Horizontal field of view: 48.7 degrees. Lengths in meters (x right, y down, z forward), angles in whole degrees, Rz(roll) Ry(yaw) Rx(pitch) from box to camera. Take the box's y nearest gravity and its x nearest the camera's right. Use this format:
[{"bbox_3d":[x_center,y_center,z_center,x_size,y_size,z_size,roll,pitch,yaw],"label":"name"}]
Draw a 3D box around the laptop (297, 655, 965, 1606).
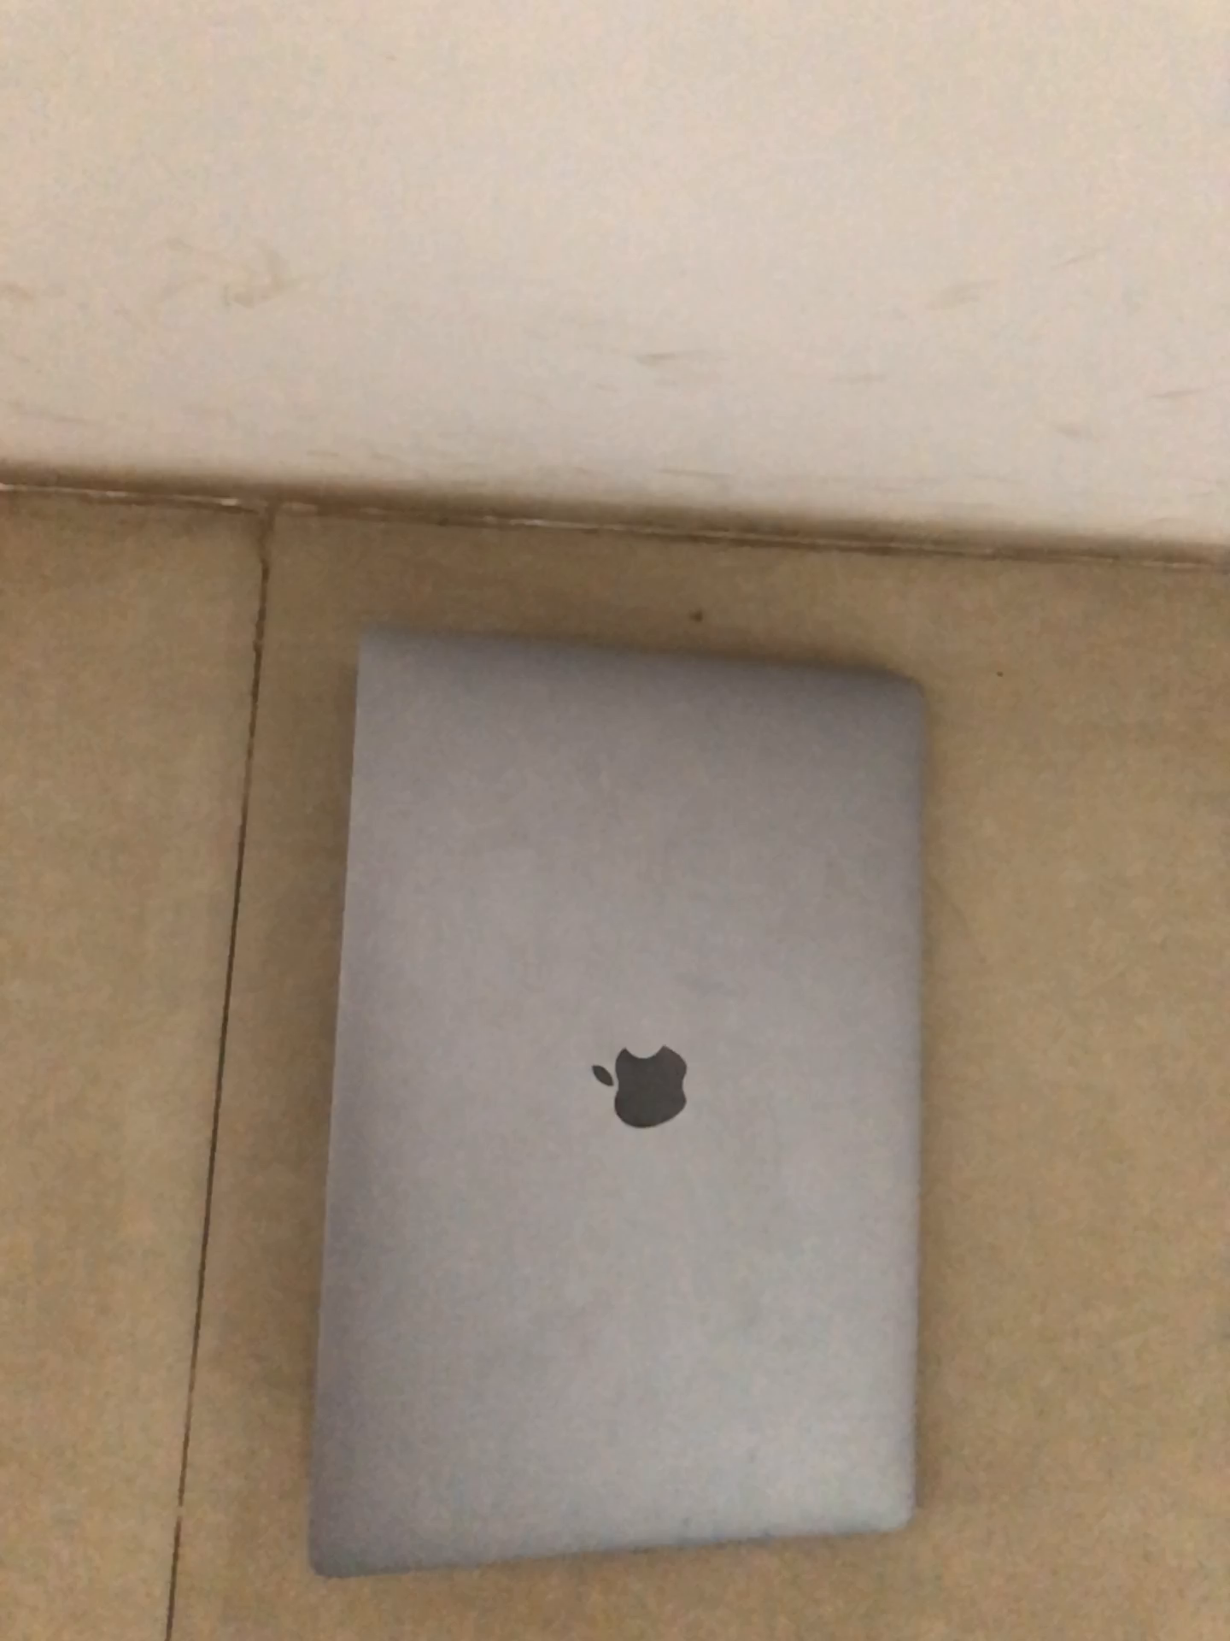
[{"bbox_3d":[0.009,0.113,0.536,0.232,0.057,0.335,3,85,-1],"label":"laptop"}]
